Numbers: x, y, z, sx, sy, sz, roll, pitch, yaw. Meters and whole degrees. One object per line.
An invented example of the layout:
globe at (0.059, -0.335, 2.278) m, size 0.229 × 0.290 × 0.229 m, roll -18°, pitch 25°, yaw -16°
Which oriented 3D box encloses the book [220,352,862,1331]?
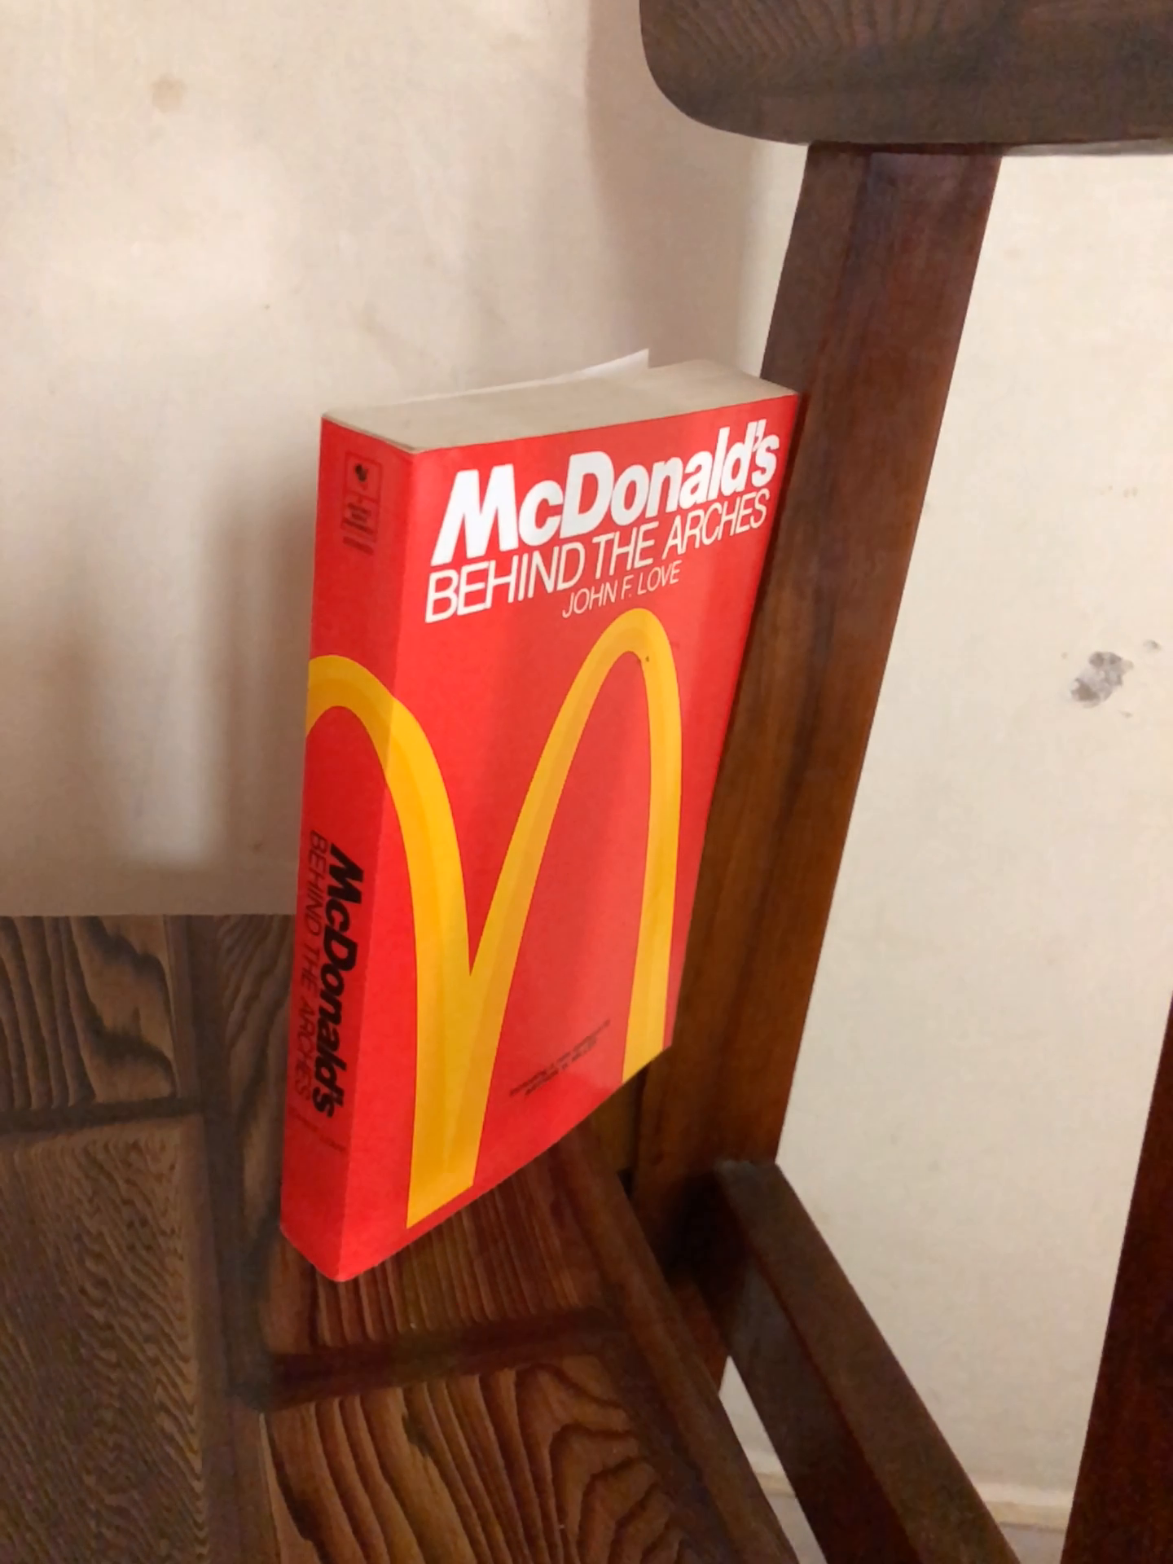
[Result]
book at (-0.009, 0.005, 0.375) m, size 0.040 × 0.239 × 0.191 m, roll 25°, pitch 28°, yaw 29°
